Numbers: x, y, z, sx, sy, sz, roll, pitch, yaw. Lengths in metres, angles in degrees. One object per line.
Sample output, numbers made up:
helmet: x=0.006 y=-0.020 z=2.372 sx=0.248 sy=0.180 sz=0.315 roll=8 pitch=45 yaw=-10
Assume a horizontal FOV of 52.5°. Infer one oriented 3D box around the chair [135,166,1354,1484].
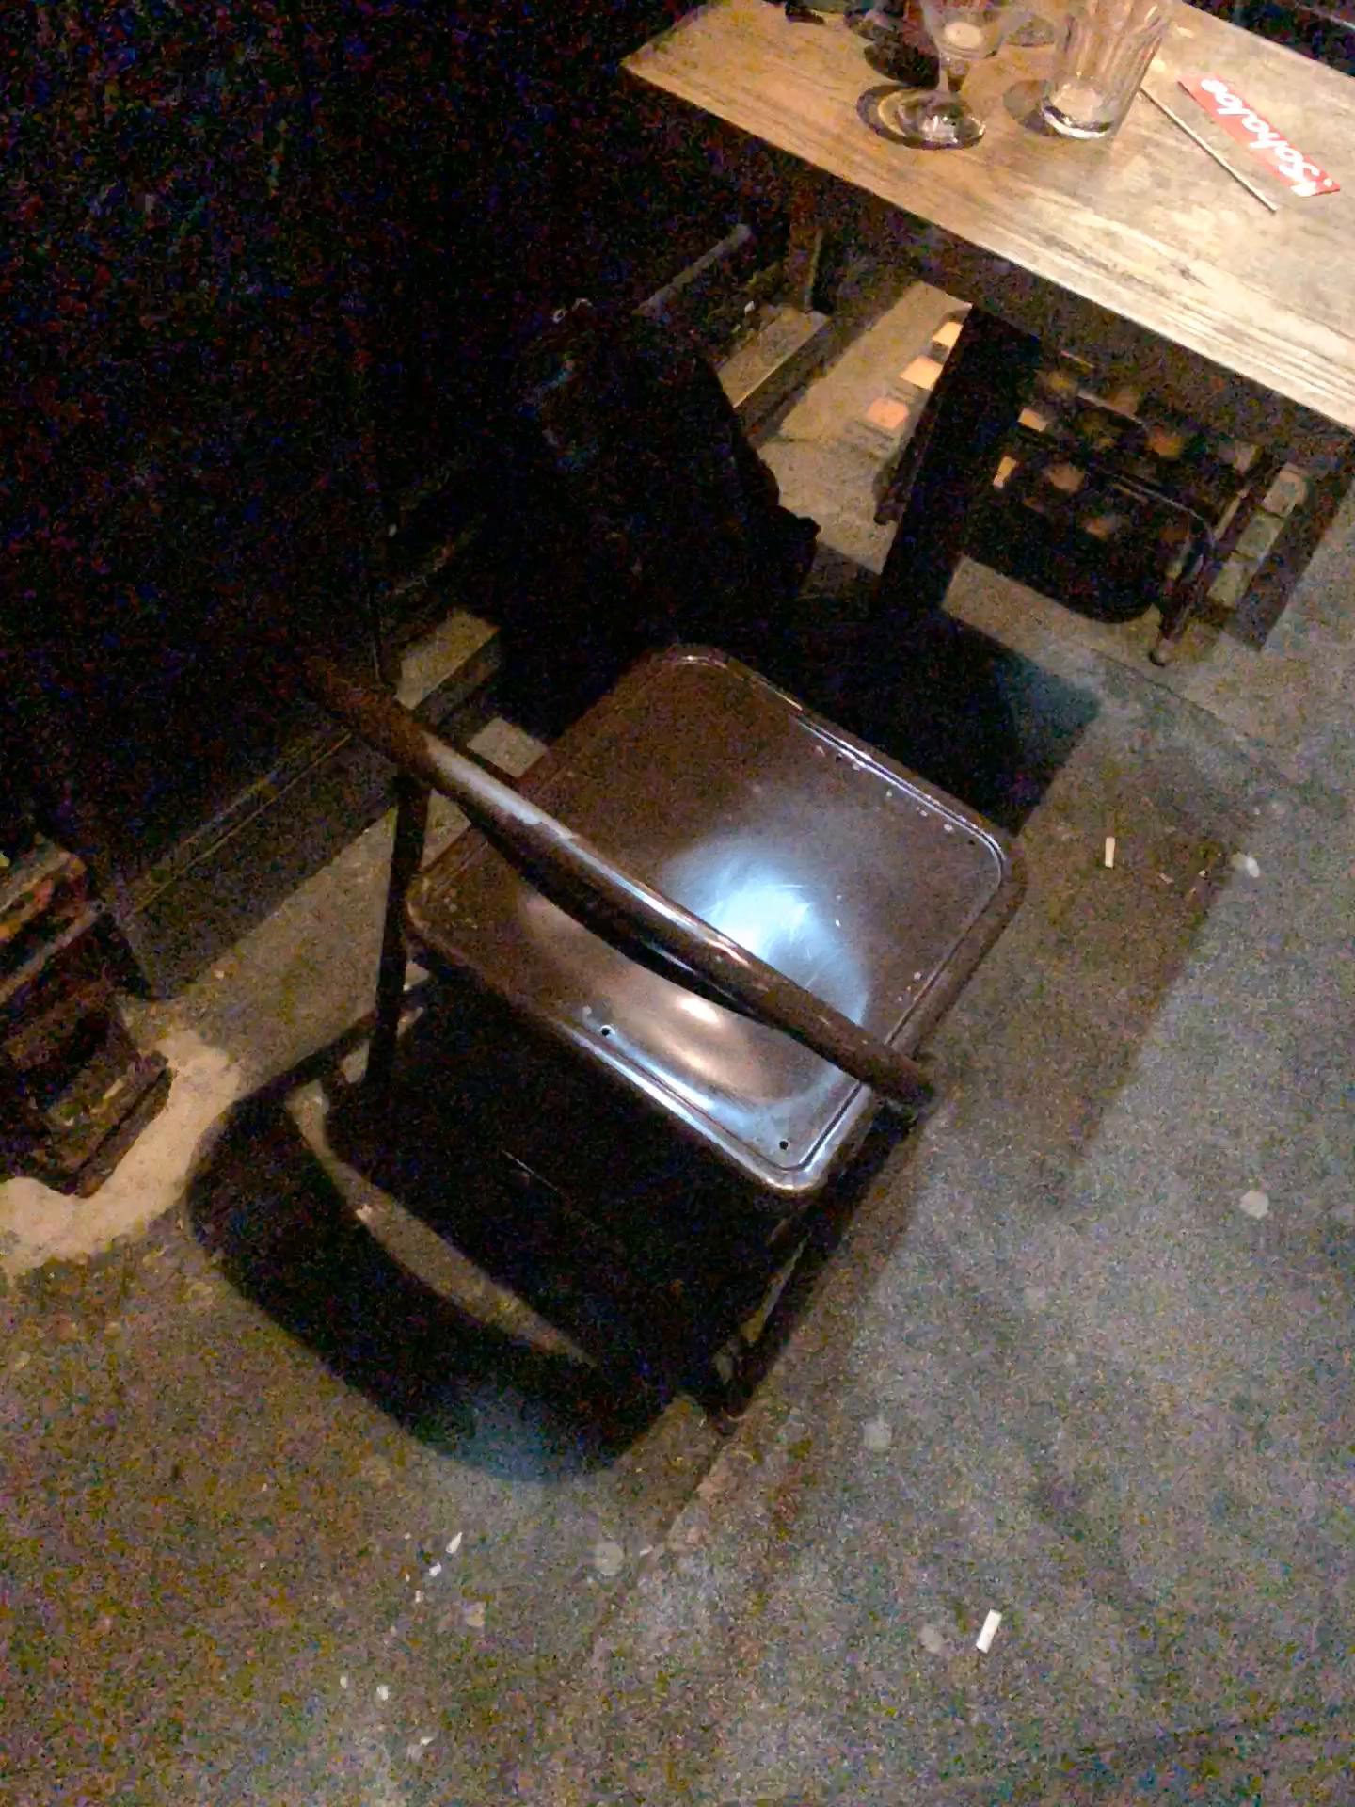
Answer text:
chair: x=0.037 y=-0.008 z=1.028 sx=0.491 sy=0.724 sz=0.483 roll=32 pitch=58 yaw=15
